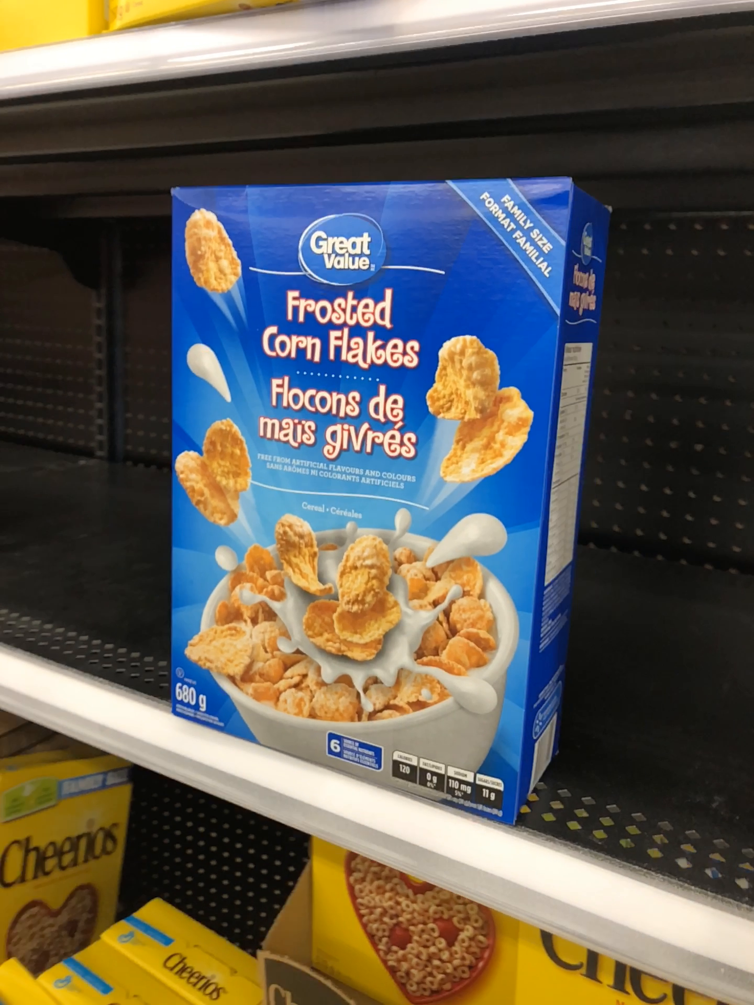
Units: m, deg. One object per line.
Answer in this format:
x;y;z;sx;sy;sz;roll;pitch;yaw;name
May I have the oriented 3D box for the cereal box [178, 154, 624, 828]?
0.003;-0.015;0.455;0.210;0.309;0.080;9;12;25;cereal box
